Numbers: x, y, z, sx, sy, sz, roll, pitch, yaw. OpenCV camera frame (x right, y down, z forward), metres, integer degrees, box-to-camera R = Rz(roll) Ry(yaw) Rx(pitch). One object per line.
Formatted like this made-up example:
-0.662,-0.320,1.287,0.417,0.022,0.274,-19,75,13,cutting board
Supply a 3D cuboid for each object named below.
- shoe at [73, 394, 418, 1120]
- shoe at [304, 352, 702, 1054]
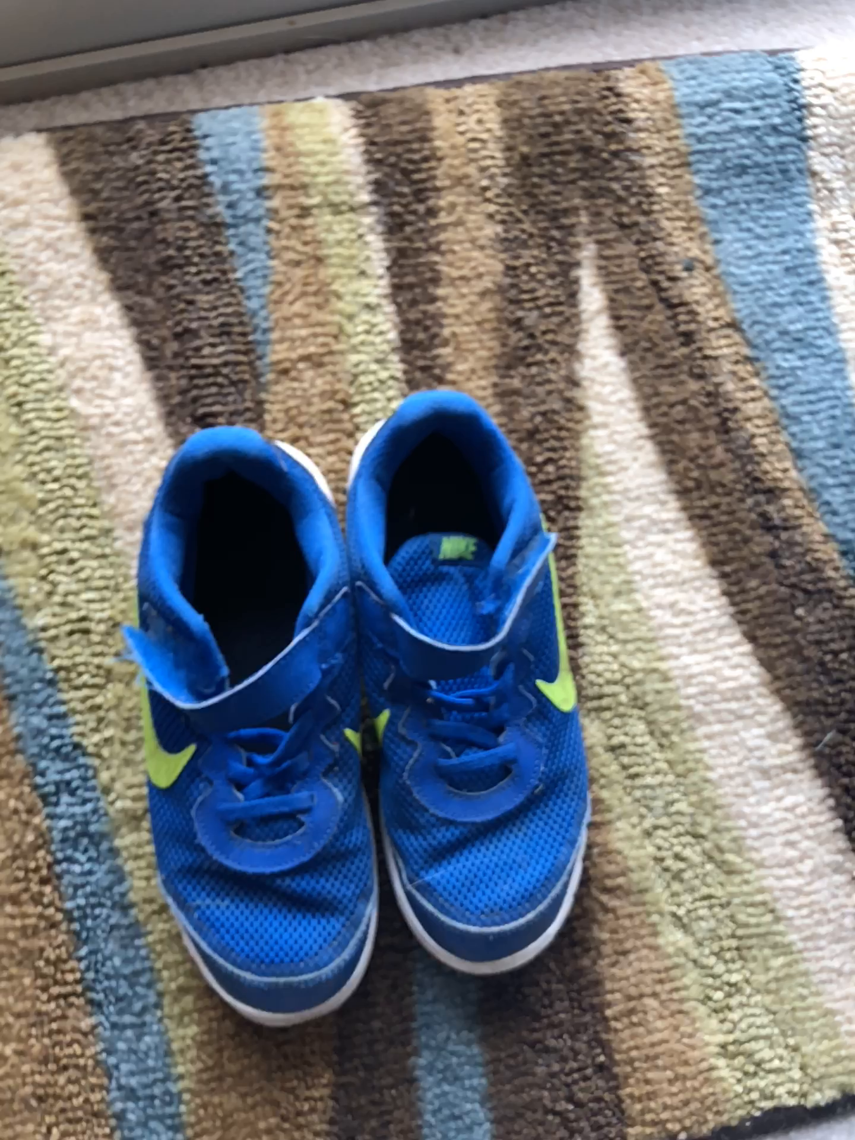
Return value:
-0.068,0.060,0.360,0.102,0.075,0.233,-4,80,-6,shoe
0.020,0.044,0.371,0.103,0.075,0.230,-8,80,-7,shoe
